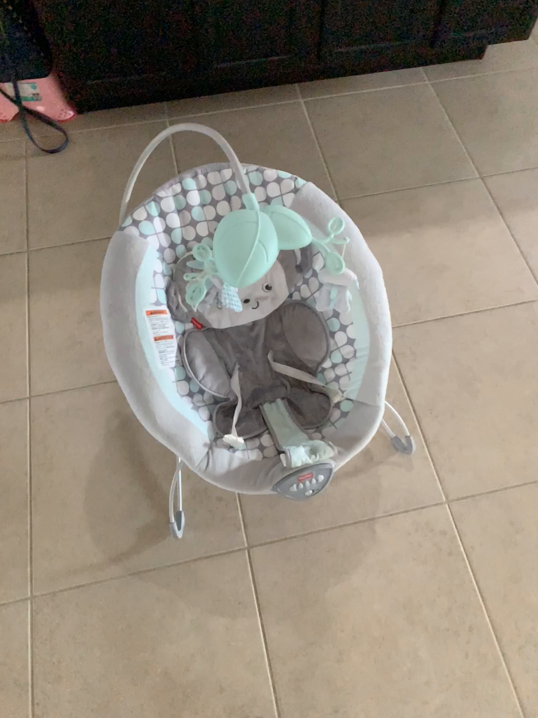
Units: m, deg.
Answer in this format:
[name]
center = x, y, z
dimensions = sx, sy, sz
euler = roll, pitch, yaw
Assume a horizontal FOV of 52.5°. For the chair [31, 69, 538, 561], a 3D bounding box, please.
[chair]
center = -0.004, -0.039, 0.995
dimensions = 0.572, 0.580, 0.547
euler = -15, 63, -8
